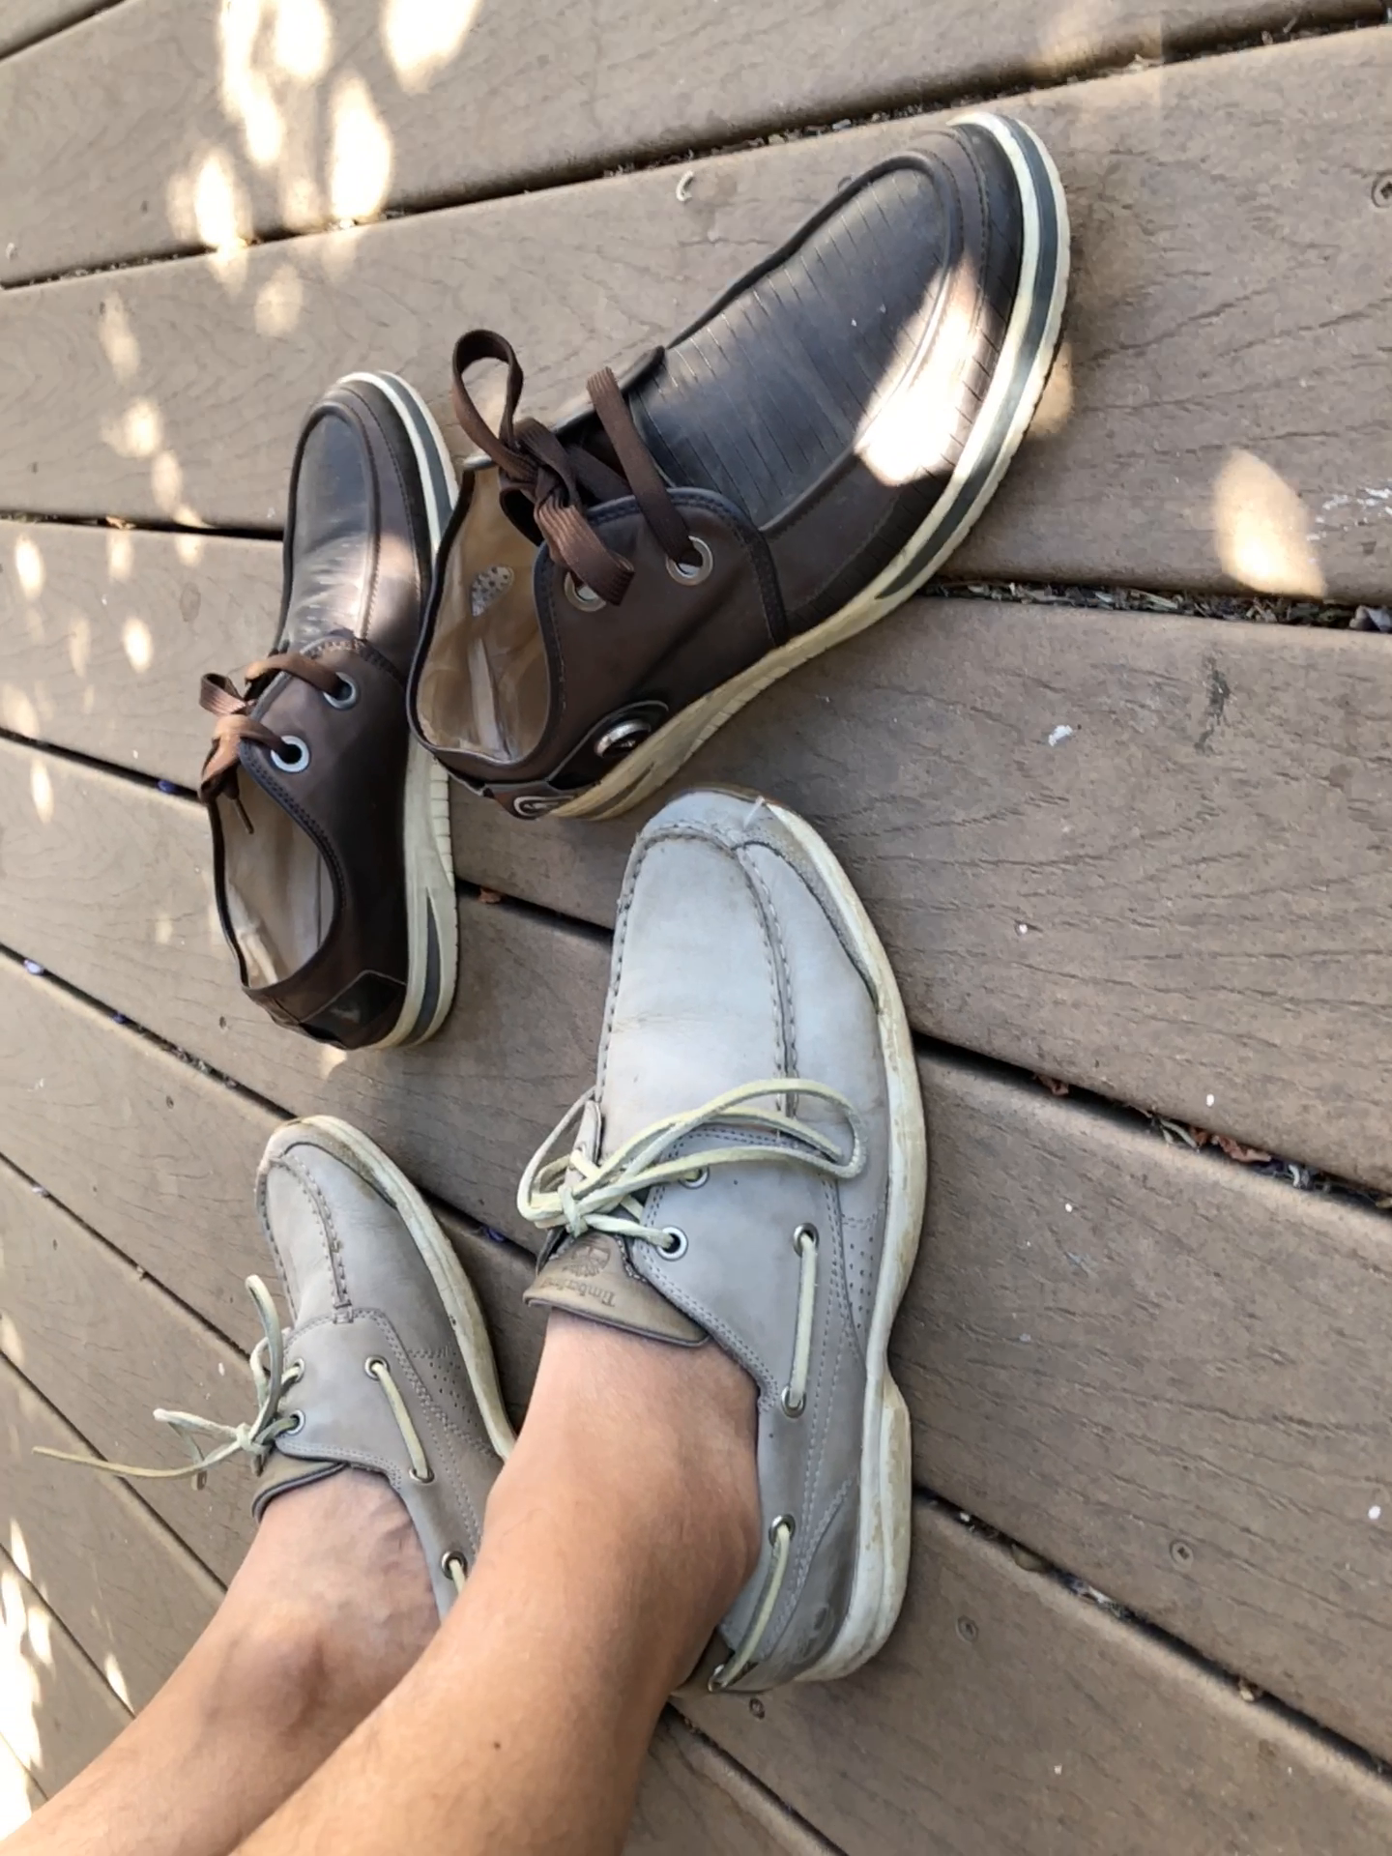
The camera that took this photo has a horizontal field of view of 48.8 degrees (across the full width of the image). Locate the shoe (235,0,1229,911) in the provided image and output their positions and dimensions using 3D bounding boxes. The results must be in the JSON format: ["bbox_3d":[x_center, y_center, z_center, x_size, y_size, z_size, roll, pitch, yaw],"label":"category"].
[{"bbox_3d":[-0.014,-0.129,0.471,0.304,0.111,0.110,-39,66,40],"label":"shoe"}]

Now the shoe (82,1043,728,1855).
[{"bbox_3d":[-0.132,0.203,0.623,0.304,0.111,0.110,55,128,28],"label":"shoe"}]

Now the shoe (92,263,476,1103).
[{"bbox_3d":[-0.170,-0.092,0.636,0.111,0.111,0.303,6,96,45],"label":"shoe"}]

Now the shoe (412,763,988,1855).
[{"bbox_3d":[0.000,0.109,0.481,0.111,0.111,0.303,-6,88,46],"label":"shoe"}]
